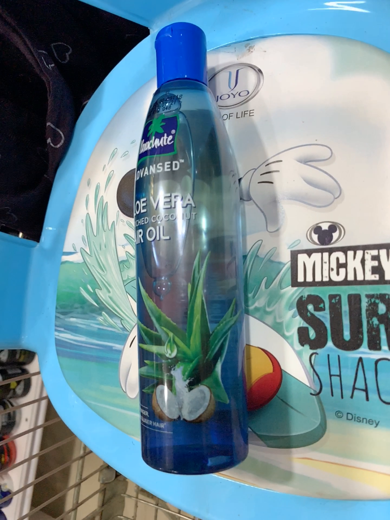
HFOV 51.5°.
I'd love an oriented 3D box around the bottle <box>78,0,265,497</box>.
[{"bbox_3d":[-0.009,-0.017,0.175,0.050,0.050,0.200,-4,89,30],"label":"bottle"}]
